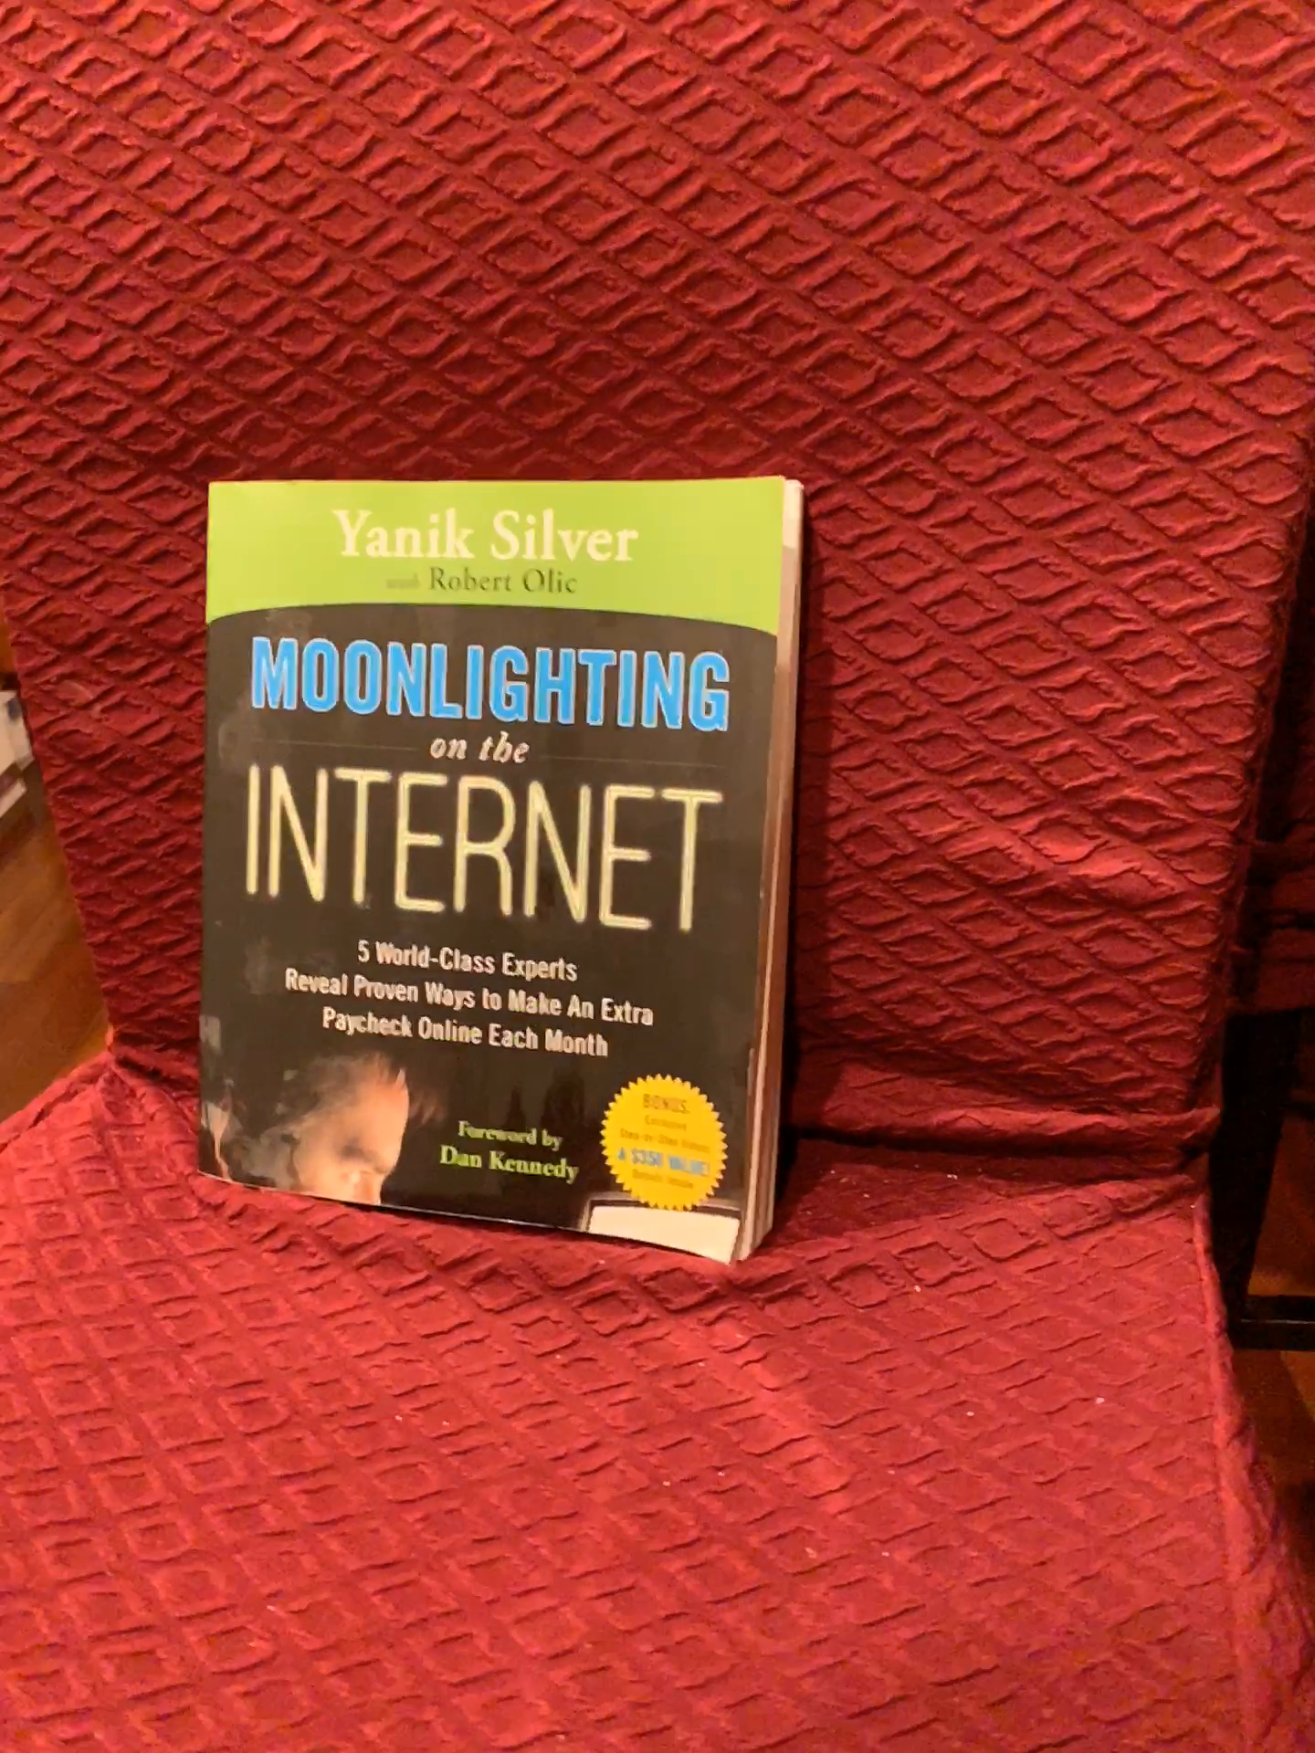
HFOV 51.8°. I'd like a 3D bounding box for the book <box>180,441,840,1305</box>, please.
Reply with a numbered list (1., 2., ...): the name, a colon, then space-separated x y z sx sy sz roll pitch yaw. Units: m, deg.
1. book: -0.051 -0.005 0.422 0.200 0.240 0.040 4 6 17
